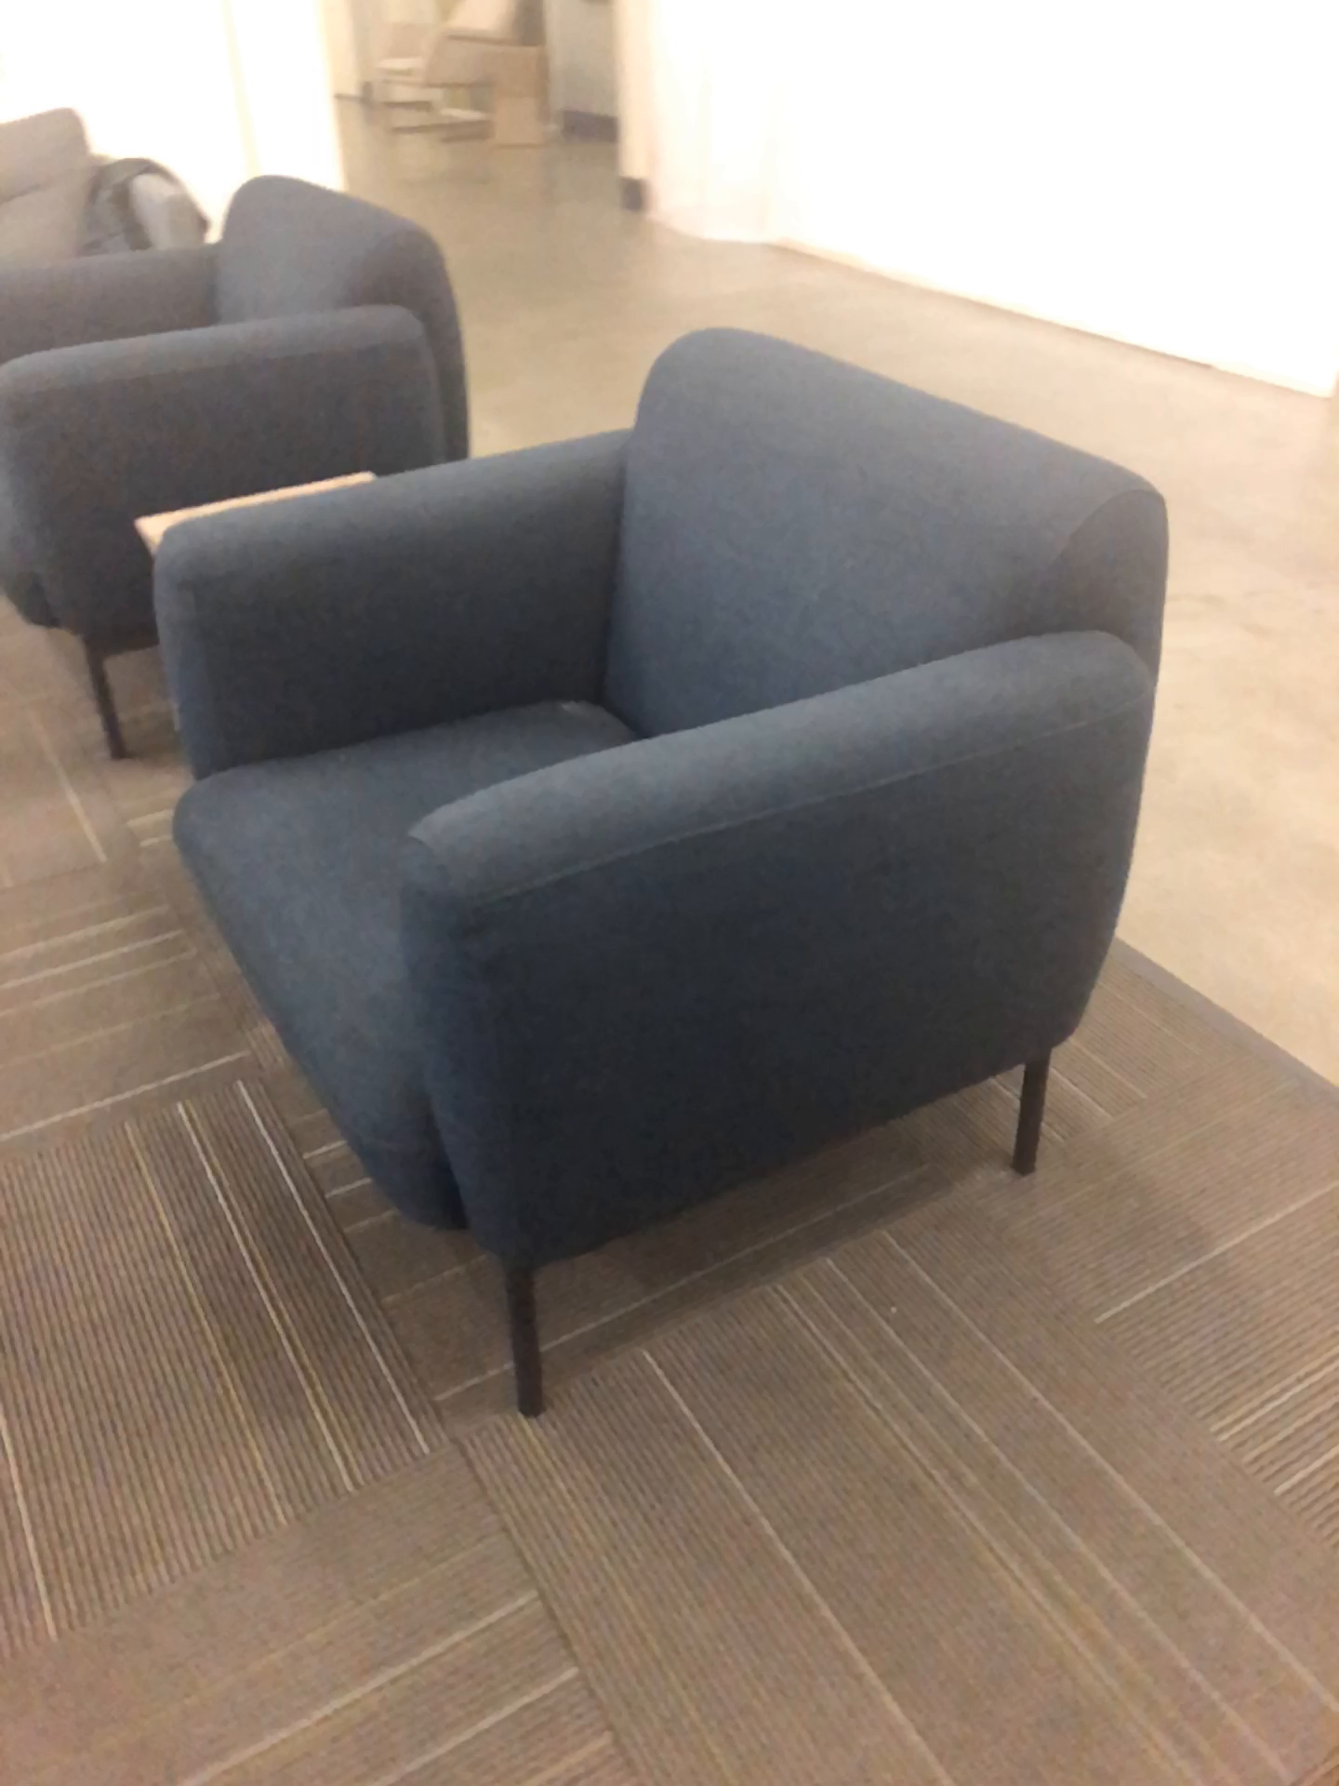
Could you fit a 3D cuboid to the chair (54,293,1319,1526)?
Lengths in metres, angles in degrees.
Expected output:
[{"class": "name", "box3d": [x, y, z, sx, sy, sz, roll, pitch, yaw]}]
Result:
[{"class": "chair", "box3d": [-0.042, -0.108, 1.604, 0.843, 0.783, 0.924, -19, 37, -25]}]
